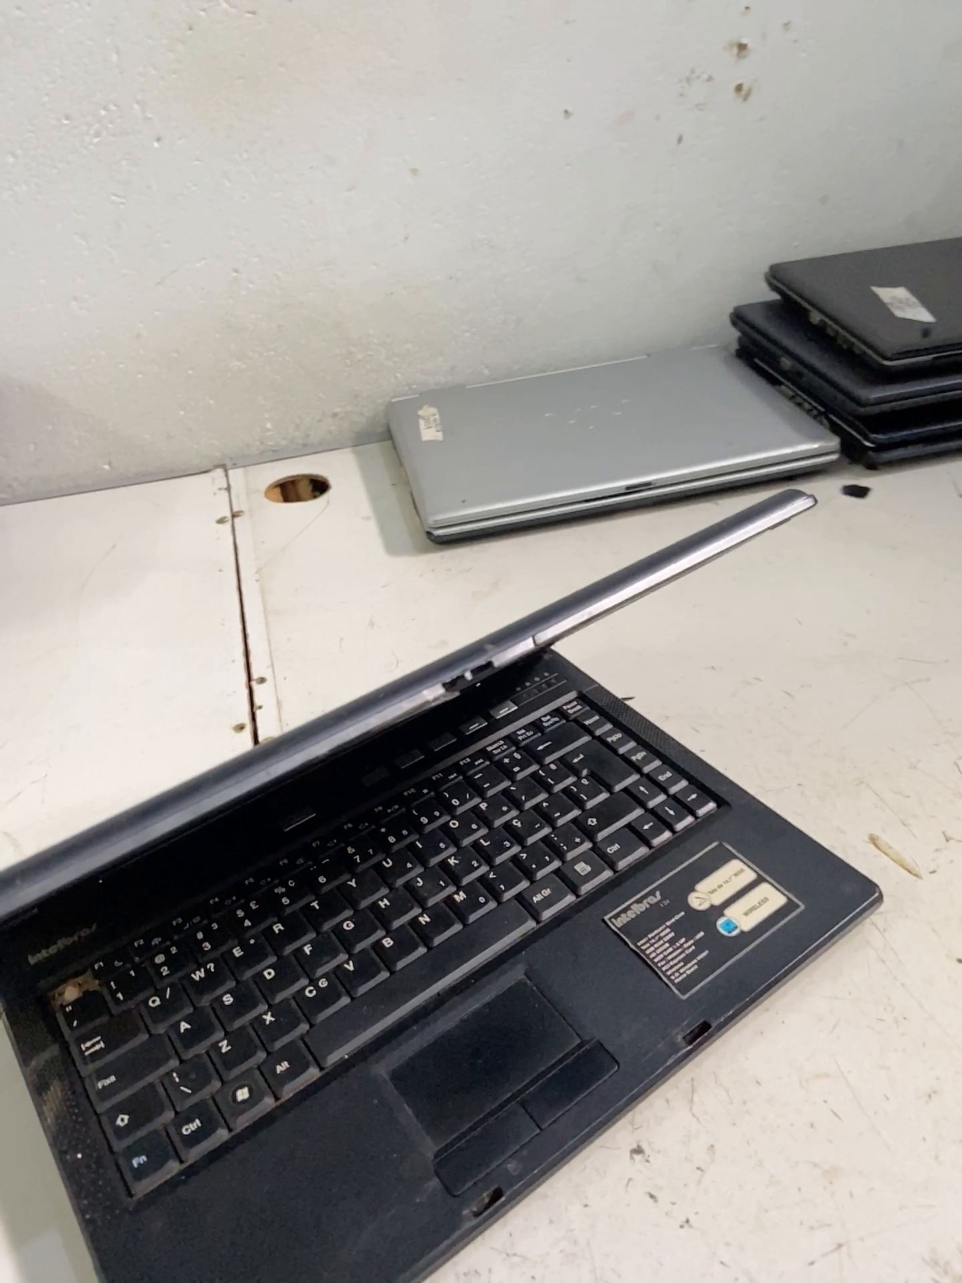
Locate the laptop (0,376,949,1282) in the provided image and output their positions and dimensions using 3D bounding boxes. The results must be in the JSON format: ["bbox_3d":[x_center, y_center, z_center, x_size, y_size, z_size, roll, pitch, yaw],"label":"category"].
[{"bbox_3d":[-0.033,0.051,0.388,0.324,0.168,0.236,-25,40,-27],"label":"laptop"}]
